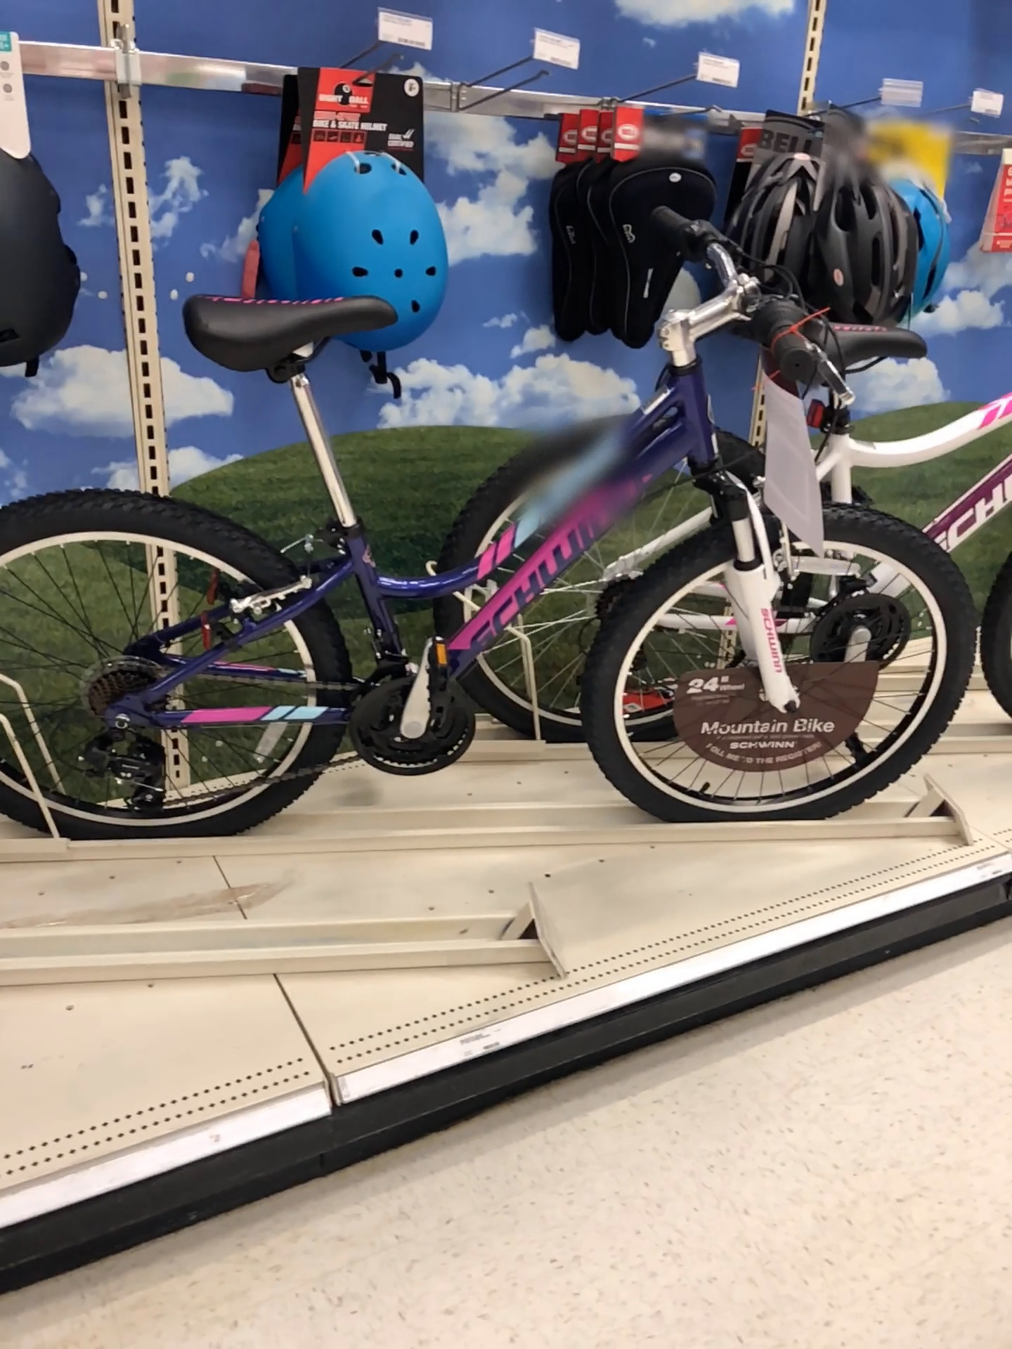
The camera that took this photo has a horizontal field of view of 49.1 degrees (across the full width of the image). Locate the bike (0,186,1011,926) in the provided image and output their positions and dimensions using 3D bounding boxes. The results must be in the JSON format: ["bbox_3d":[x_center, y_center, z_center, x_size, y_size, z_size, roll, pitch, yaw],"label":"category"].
[{"bbox_3d":[0.074,-0.182,1.437,1.222,0.799,0.570,1,23,-2],"label":"bike"}]
